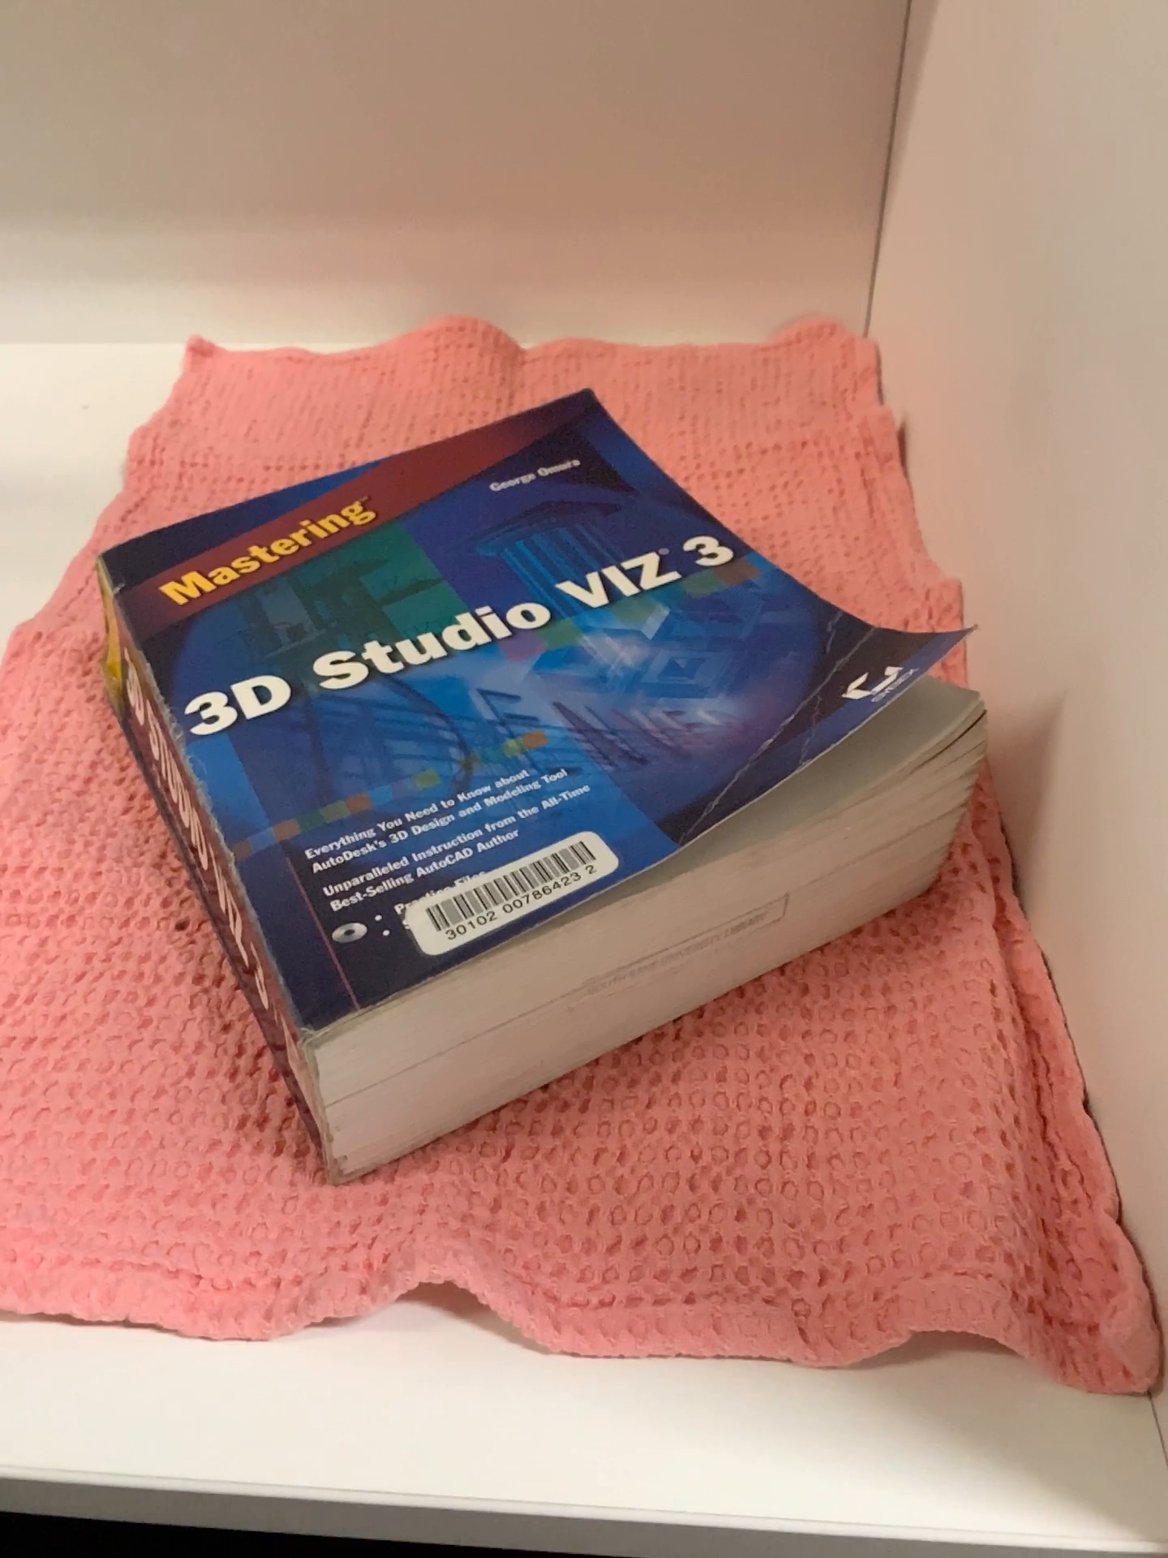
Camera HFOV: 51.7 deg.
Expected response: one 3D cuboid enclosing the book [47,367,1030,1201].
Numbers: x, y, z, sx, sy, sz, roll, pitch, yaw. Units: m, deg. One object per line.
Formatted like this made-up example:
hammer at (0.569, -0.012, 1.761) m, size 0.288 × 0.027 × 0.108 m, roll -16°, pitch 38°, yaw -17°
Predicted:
book at (-0.029, -0.029, 0.380) m, size 0.206 × 0.076 × 0.233 m, roll -21°, pitch 46°, yaw -20°
